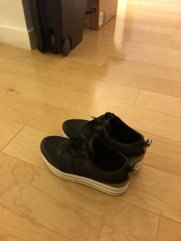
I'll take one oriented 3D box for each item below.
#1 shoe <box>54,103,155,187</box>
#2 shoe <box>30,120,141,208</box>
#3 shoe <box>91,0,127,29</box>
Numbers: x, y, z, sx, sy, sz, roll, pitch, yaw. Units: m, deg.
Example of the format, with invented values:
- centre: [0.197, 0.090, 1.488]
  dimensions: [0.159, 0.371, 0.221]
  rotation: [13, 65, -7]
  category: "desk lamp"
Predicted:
- centre: [0.033, 0.060, 0.560]
  dimensions: [0.250, 0.099, 0.111]
  rotation: [23, 47, 22]
  category: "shoe"
- centre: [-0.014, 0.105, 0.506]
  dimensions: [0.250, 0.099, 0.101]
  rotation: [19, 45, 18]
  category: "shoe"
- centre: [0.659, -4.225, 7.441]
  dimensions: [1.001, 0.993, 1.006]
  rotation: [-12, 44, -14]
  category: "shoe"
